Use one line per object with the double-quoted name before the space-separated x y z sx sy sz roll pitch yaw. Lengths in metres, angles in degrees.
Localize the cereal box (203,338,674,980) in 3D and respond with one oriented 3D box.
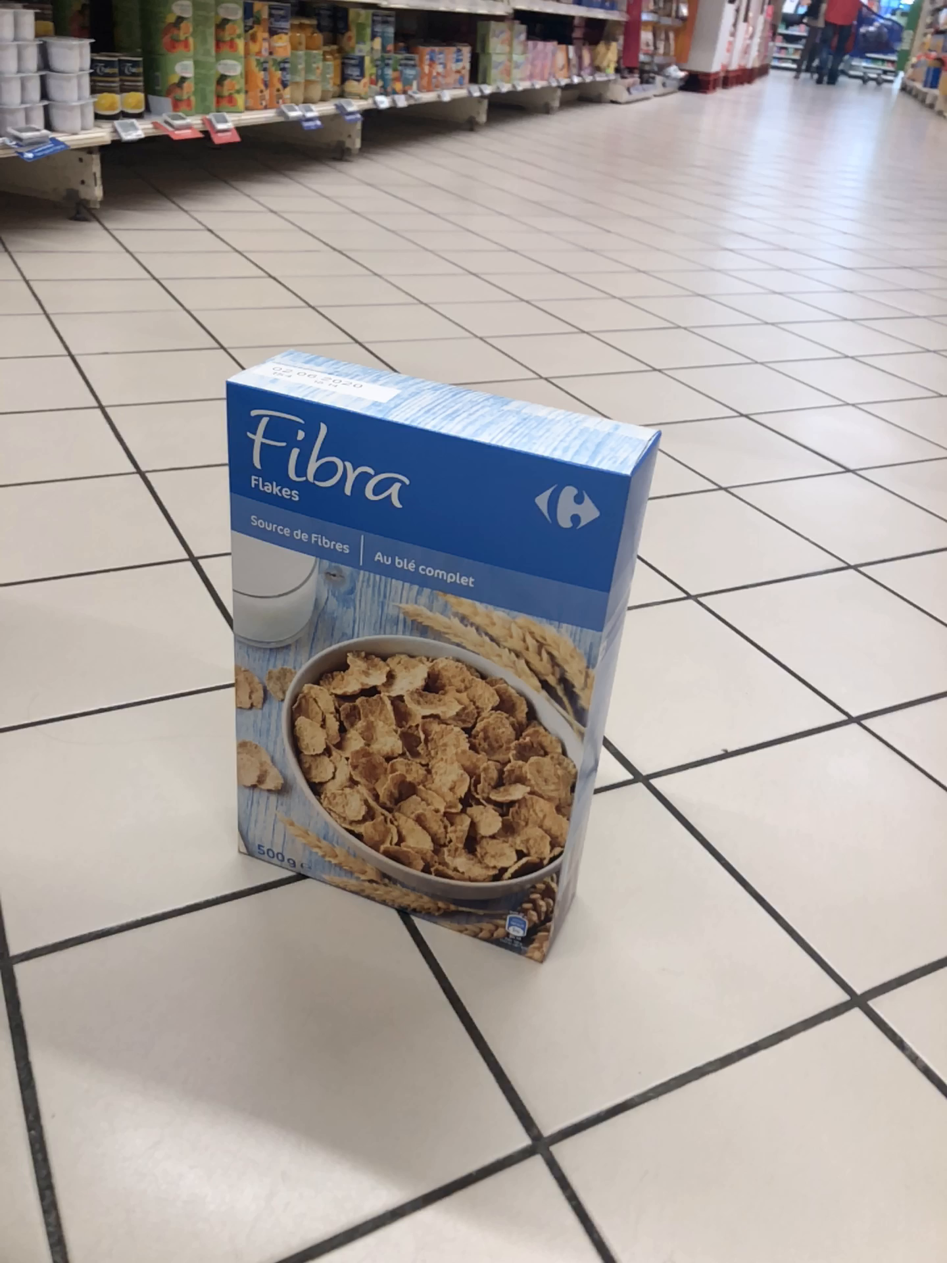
"cereal box" -0.029 0.019 0.537 0.200 0.288 0.070 16 31 16
